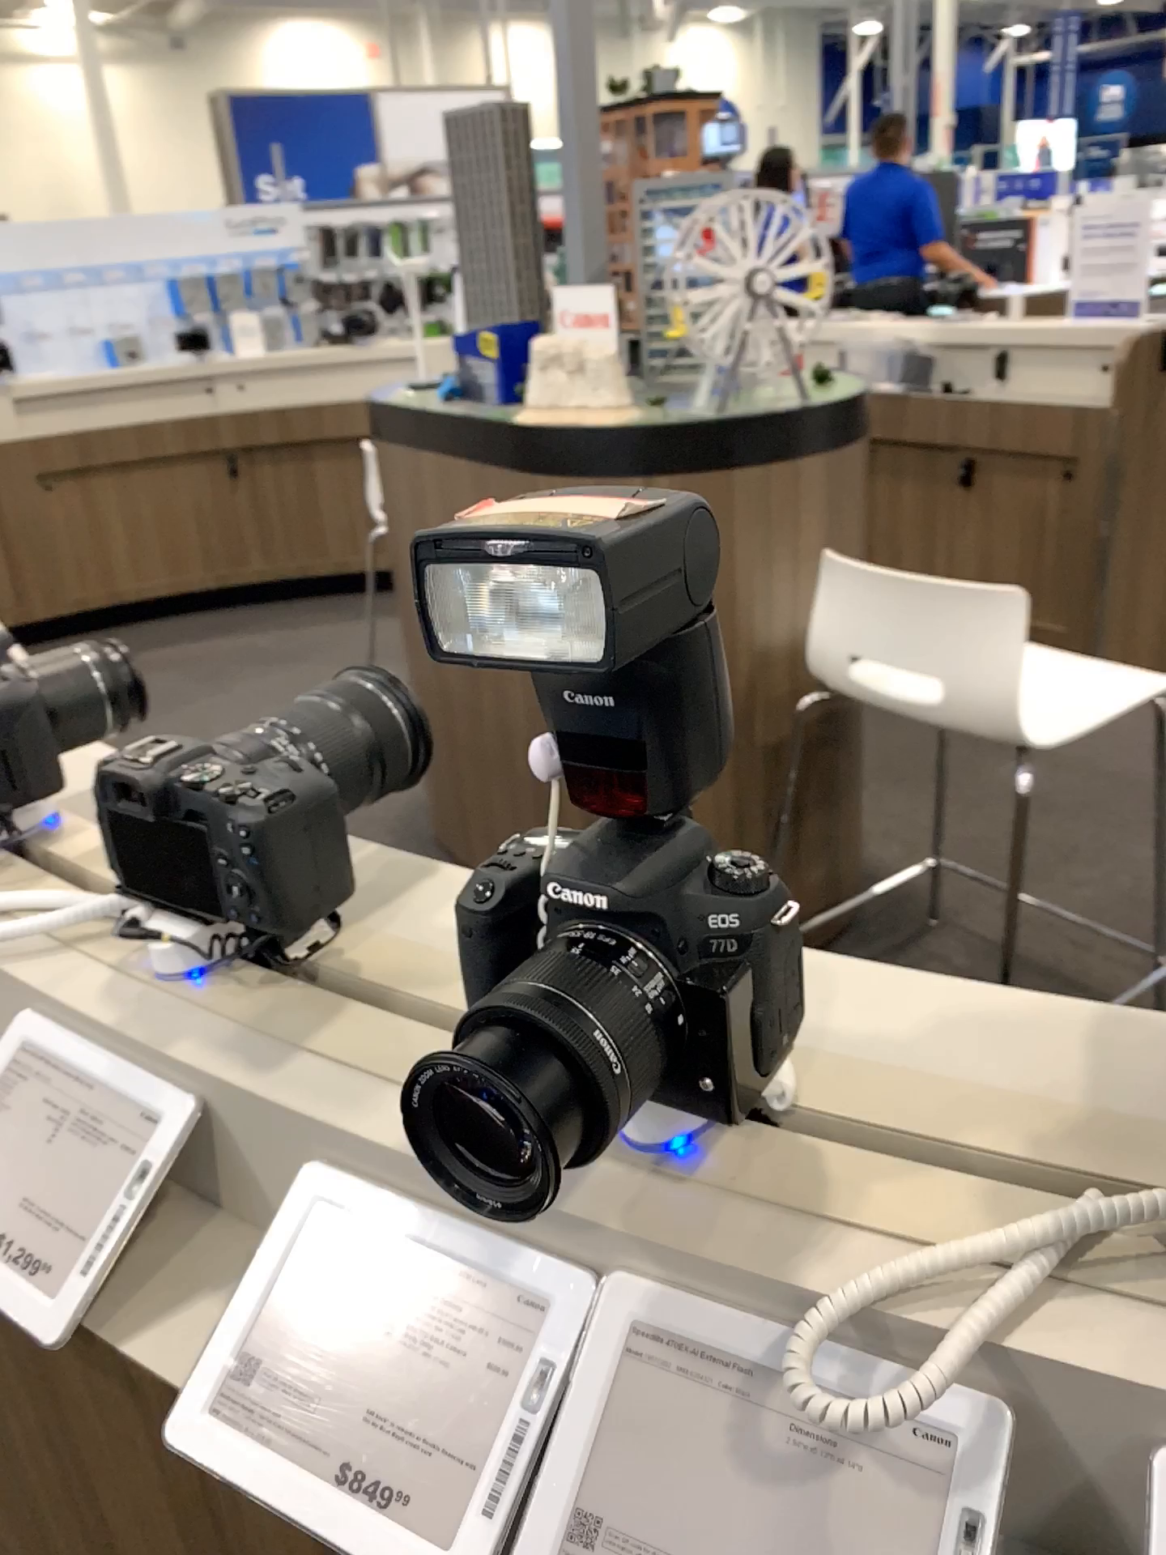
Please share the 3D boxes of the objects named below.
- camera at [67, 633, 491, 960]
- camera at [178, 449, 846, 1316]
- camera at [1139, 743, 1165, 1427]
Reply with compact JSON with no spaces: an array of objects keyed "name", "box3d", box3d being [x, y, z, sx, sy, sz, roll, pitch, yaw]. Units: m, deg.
[{"name":"camera","box3d":[-0.162,0.000,0.676,0.140,0.103,0.166,11,29,31]},{"name":"camera","box3d":[-0.005,0.018,0.435,0.140,0.232,0.176,10,28,31]},{"name":"camera","box3d":[0.268,0.076,0.384,0.140,0.103,0.166,8,28,27]}]
